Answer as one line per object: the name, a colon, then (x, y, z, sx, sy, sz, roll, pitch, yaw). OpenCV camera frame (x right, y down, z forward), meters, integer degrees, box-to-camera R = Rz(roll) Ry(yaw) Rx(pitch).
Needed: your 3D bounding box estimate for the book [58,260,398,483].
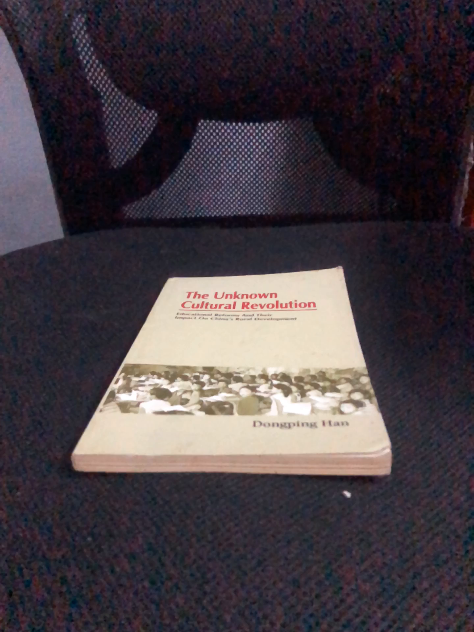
book: (0.002, 0.018, 0.332, 0.154, 0.017, 0.215, -2, 29, 6)
